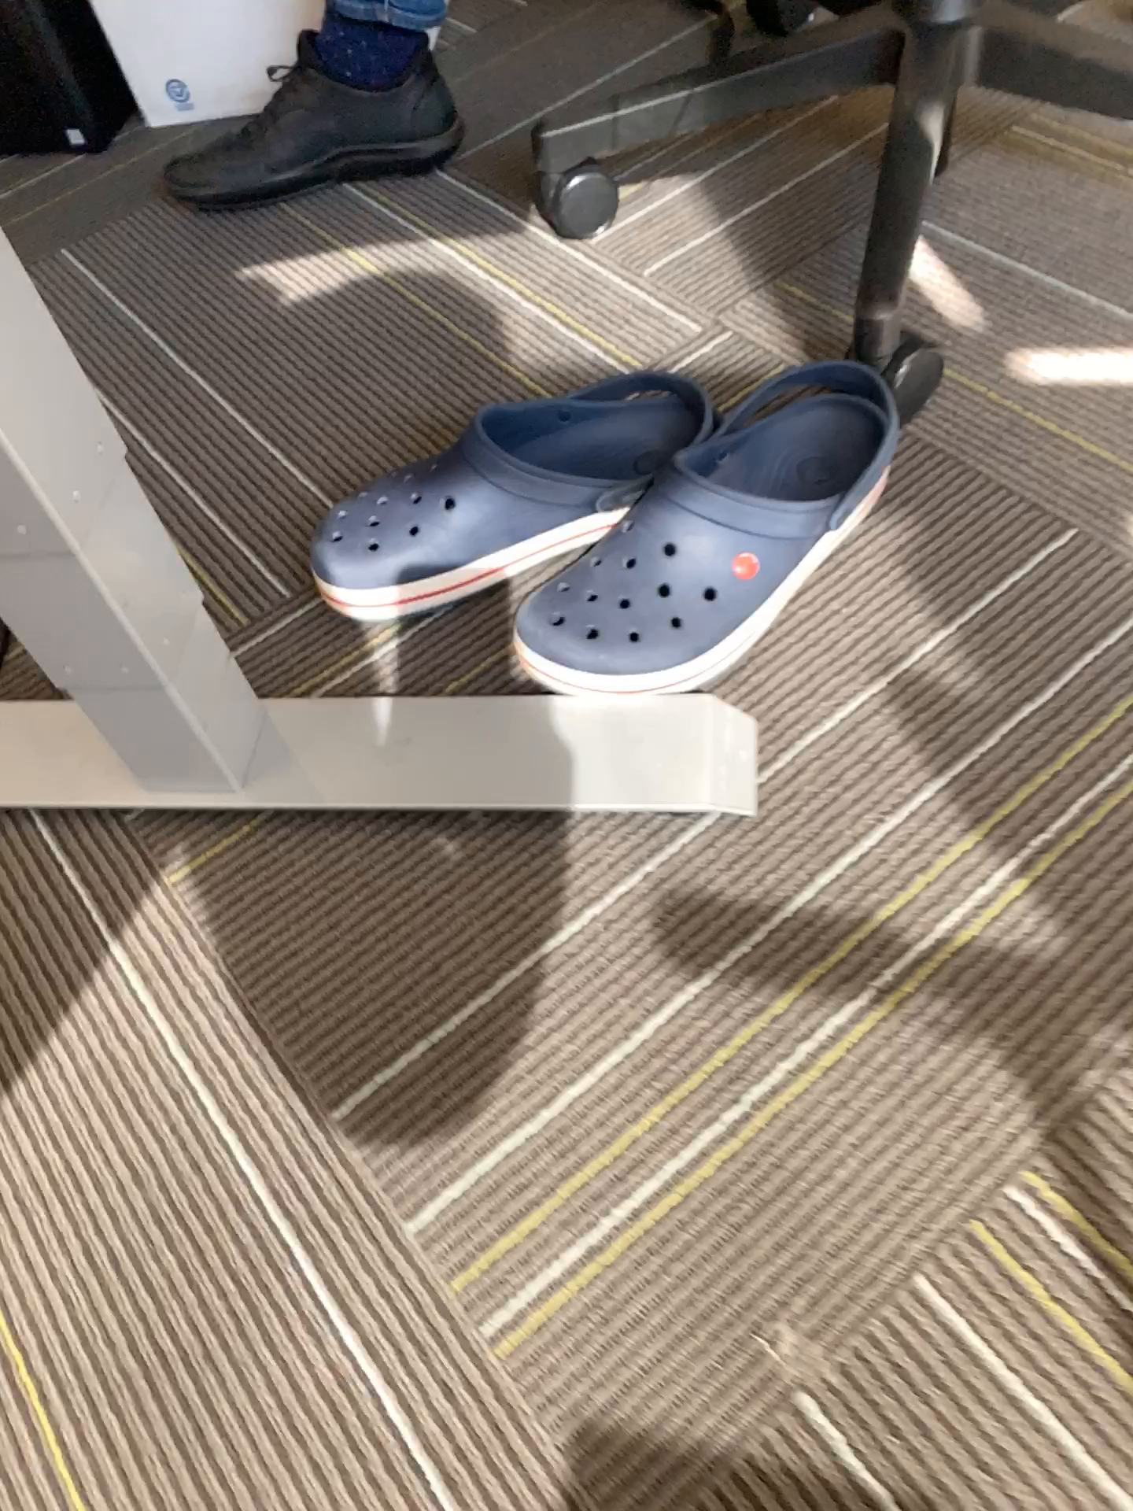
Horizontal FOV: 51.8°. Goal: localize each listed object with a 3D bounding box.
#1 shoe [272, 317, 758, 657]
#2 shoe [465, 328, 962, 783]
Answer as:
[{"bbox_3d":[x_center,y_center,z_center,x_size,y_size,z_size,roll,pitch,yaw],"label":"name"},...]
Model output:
[{"bbox_3d":[-0.037,-0.197,0.847,0.320,0.080,0.131,-20,55,-3],"label":"shoe"},{"bbox_3d":[0.105,-0.144,0.788,0.330,0.080,0.130,-41,59,-17],"label":"shoe"}]
